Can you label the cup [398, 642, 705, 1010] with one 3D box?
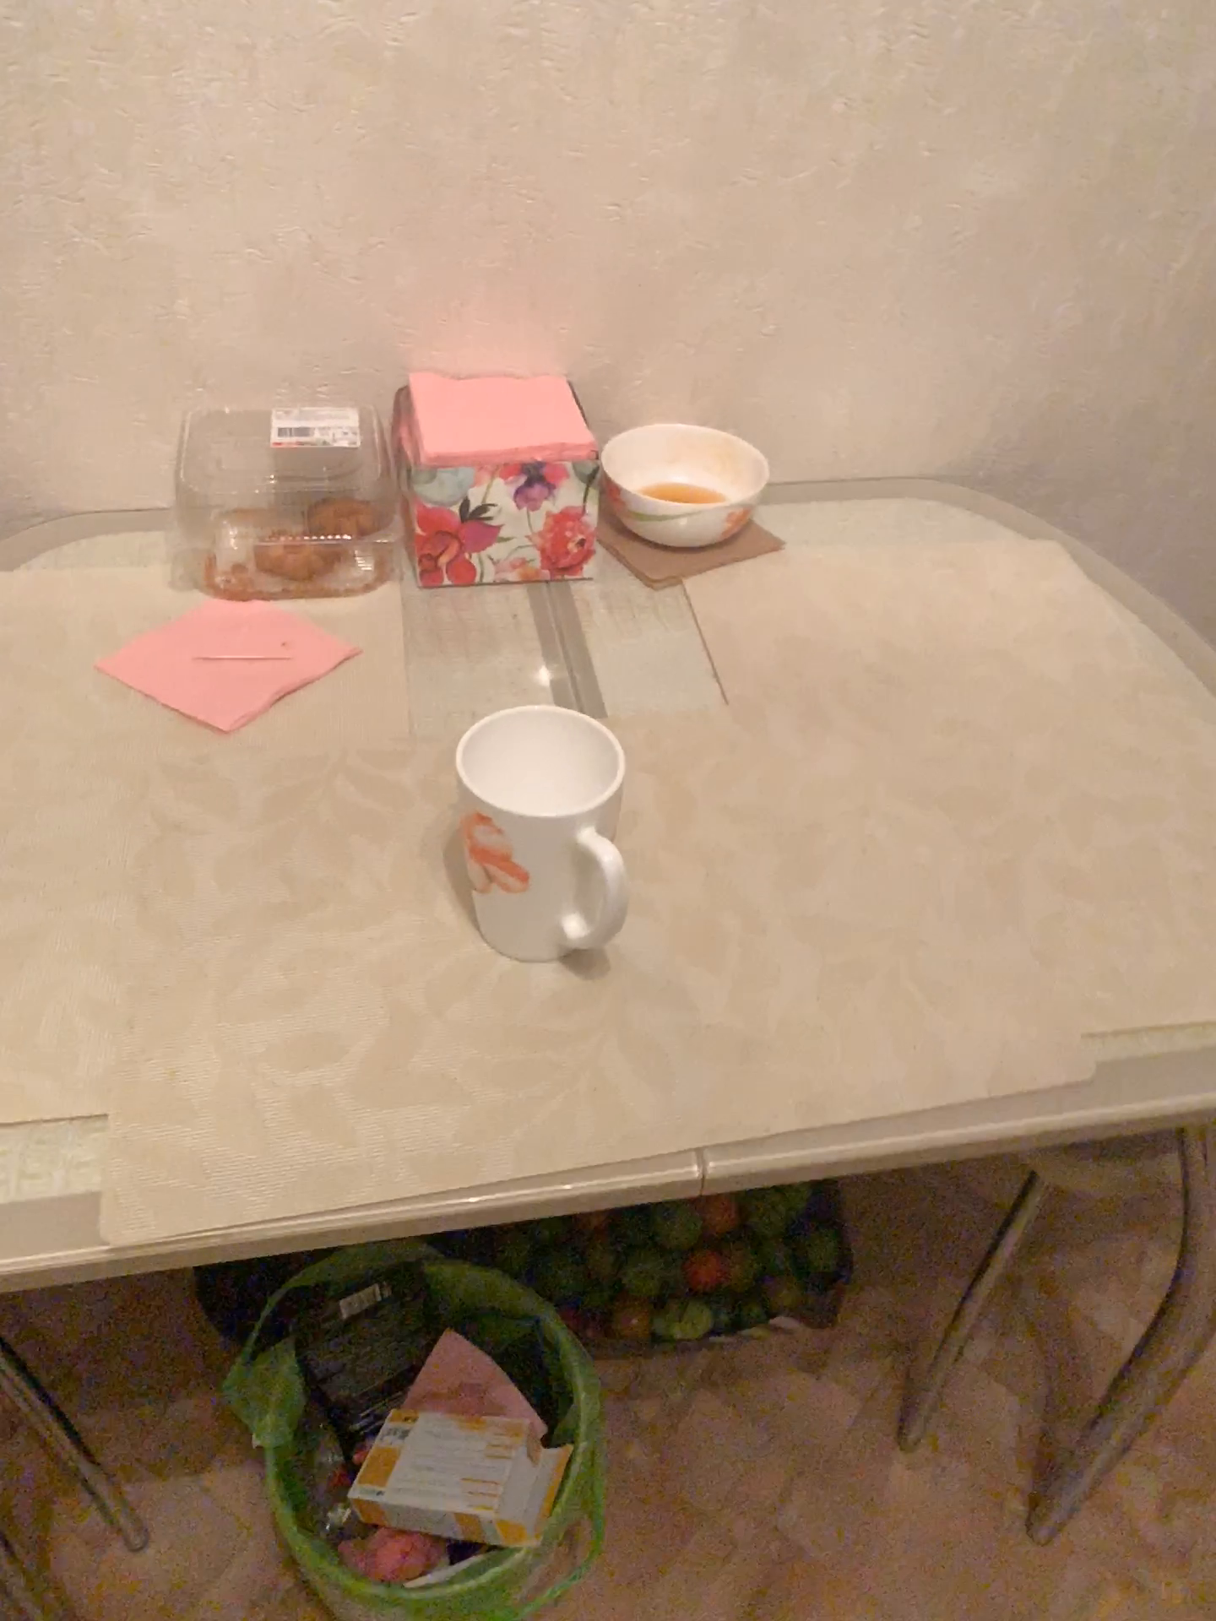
[{"bbox_3d":[-0.029,0.004,0.583,0.084,0.099,0.119,-25,49,-28],"label":"cup"}]
